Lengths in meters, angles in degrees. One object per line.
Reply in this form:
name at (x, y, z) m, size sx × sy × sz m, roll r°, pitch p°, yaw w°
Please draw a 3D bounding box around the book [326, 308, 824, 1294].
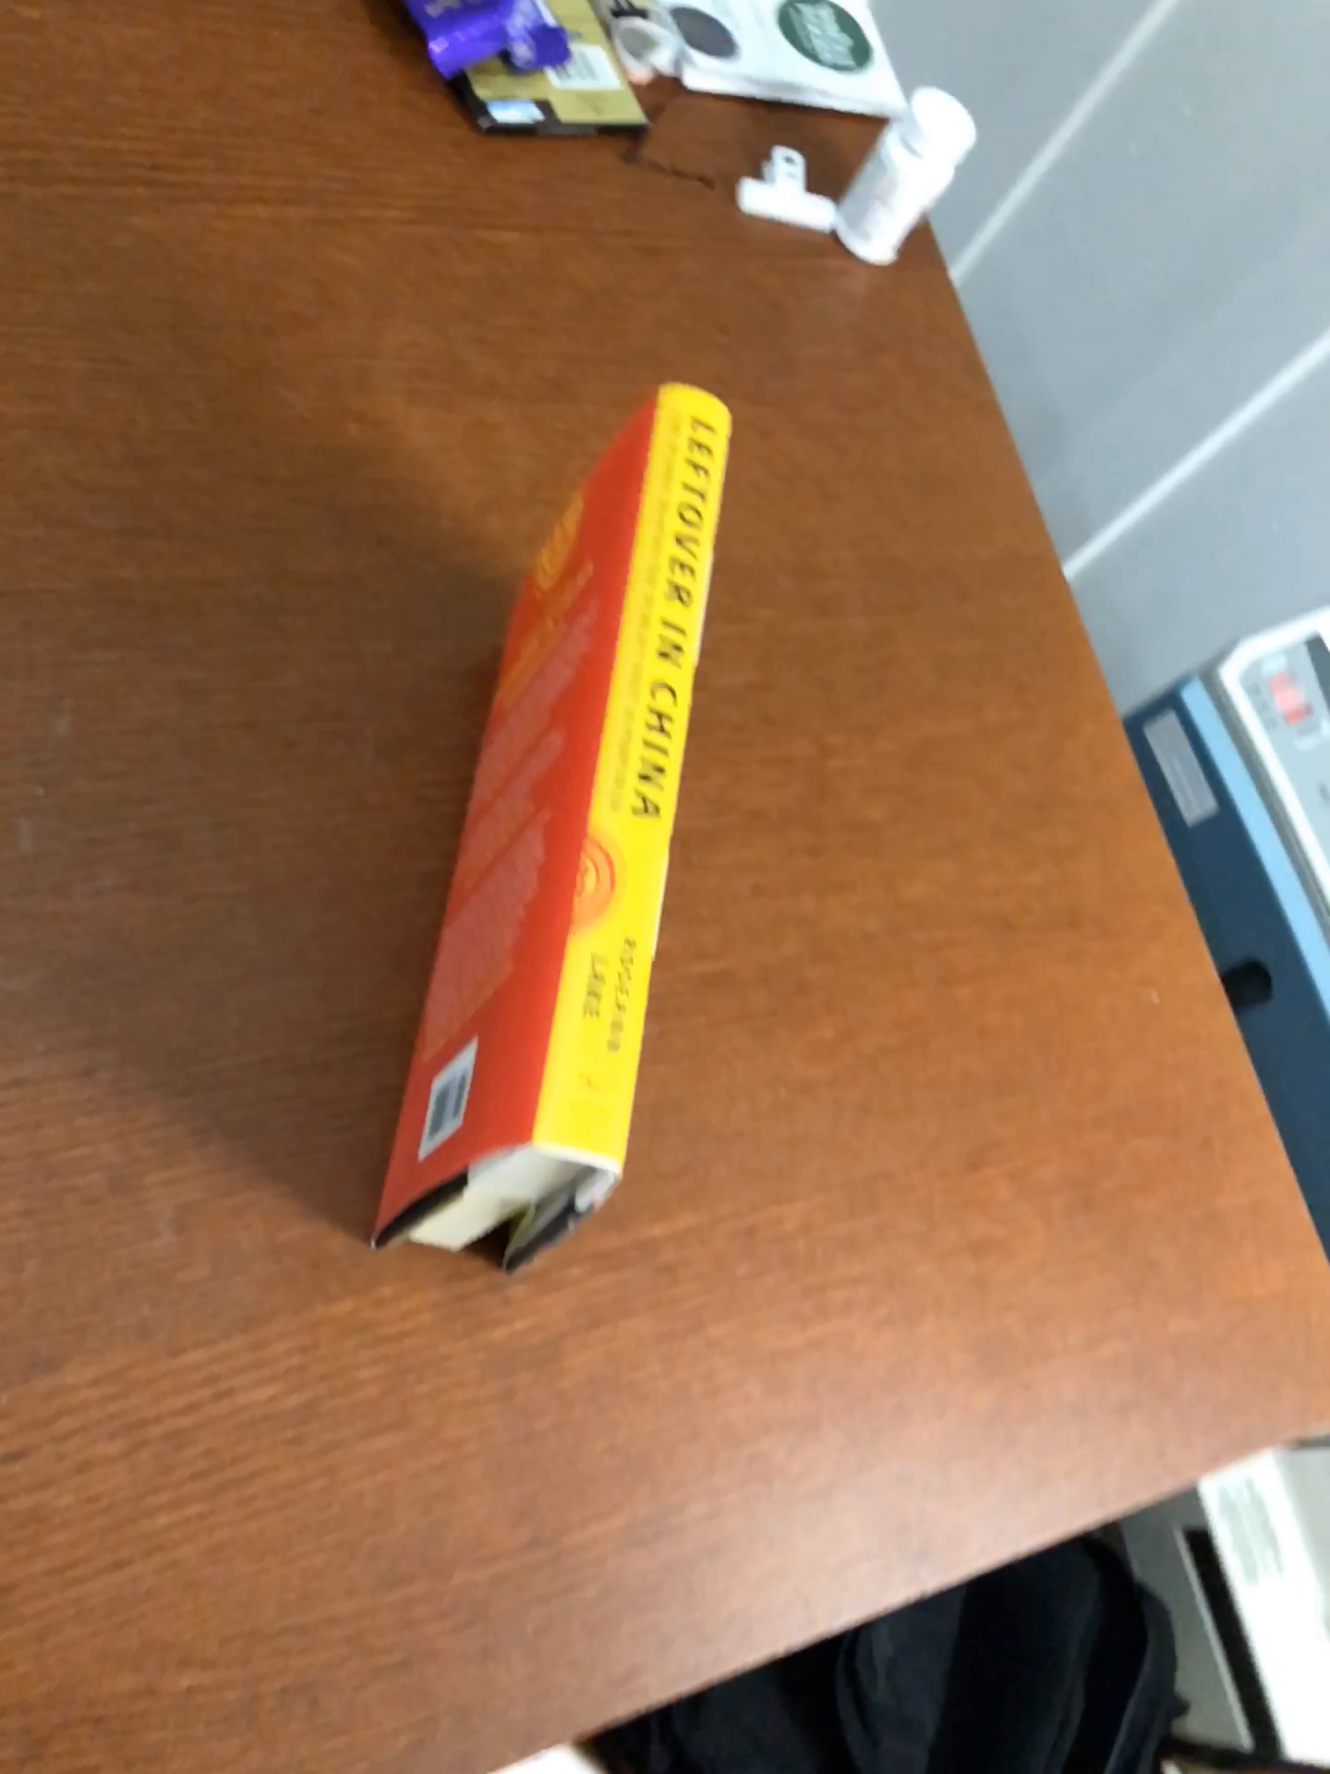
book at (-0.030, -0.018, 0.472) m, size 0.060 × 0.179 × 0.261 m, roll 18°, pitch 62°, yaw -18°
